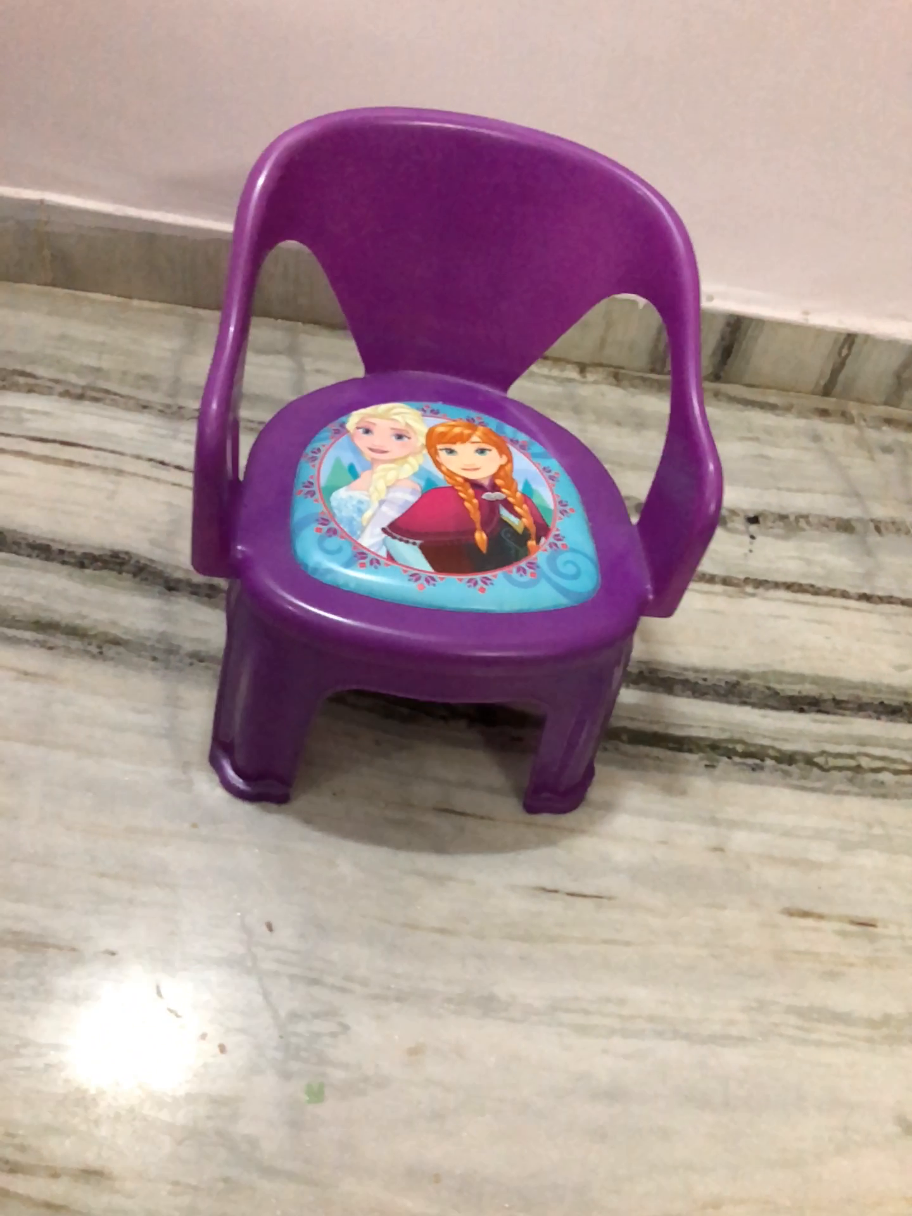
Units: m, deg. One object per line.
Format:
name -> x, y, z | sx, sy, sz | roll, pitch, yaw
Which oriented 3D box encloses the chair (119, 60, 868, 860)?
chair -> -0.010, -0.096, 0.716 | 0.350, 0.347, 0.393 | 7, 47, -9
